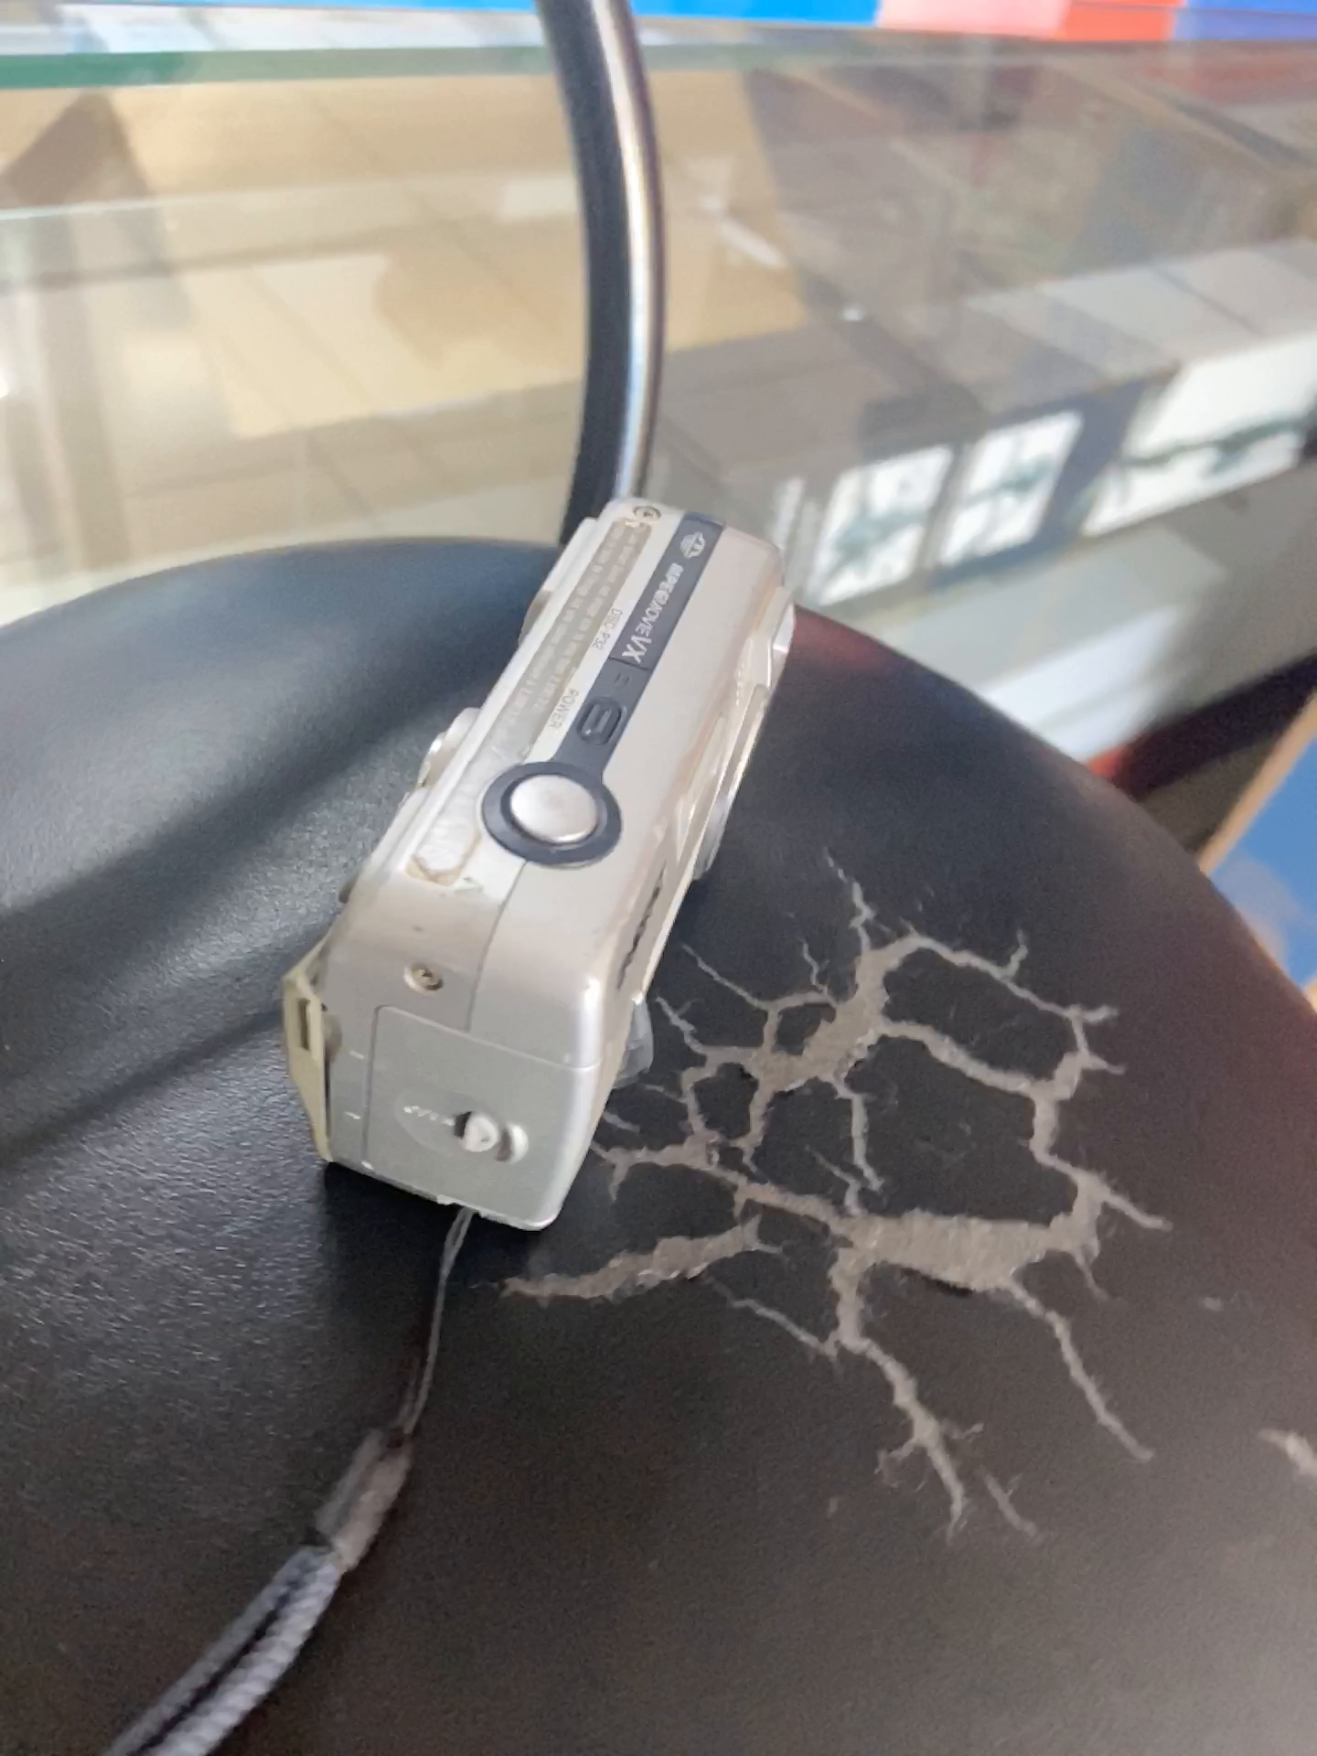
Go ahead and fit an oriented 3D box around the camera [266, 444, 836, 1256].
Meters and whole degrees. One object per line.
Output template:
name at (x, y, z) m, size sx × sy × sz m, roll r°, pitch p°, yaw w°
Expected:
camera at (-0.011, -0.009, 0.192) m, size 0.040 × 0.050 × 0.101 m, roll 20°, pitch 46°, yaw 4°
